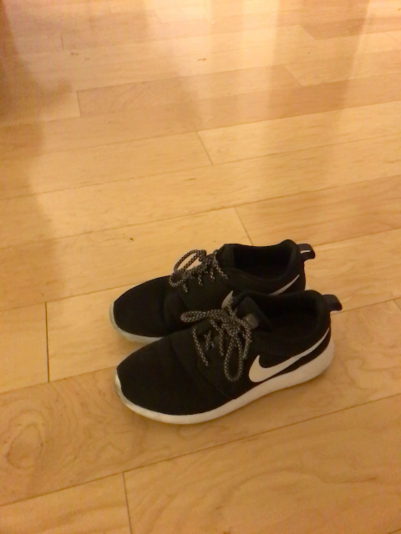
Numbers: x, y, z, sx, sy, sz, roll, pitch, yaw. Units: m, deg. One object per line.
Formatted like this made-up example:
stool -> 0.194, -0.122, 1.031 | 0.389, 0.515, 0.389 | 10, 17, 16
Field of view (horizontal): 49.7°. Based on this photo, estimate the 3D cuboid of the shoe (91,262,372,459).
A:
shoe -> 0.034, 0.103, 0.514 | 0.290, 0.099, 0.111 | -16, 49, -14

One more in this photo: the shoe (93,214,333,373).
shoe -> 0.017, 0.030, 0.587 | 0.290, 0.099, 0.101 | -16, 49, -14
